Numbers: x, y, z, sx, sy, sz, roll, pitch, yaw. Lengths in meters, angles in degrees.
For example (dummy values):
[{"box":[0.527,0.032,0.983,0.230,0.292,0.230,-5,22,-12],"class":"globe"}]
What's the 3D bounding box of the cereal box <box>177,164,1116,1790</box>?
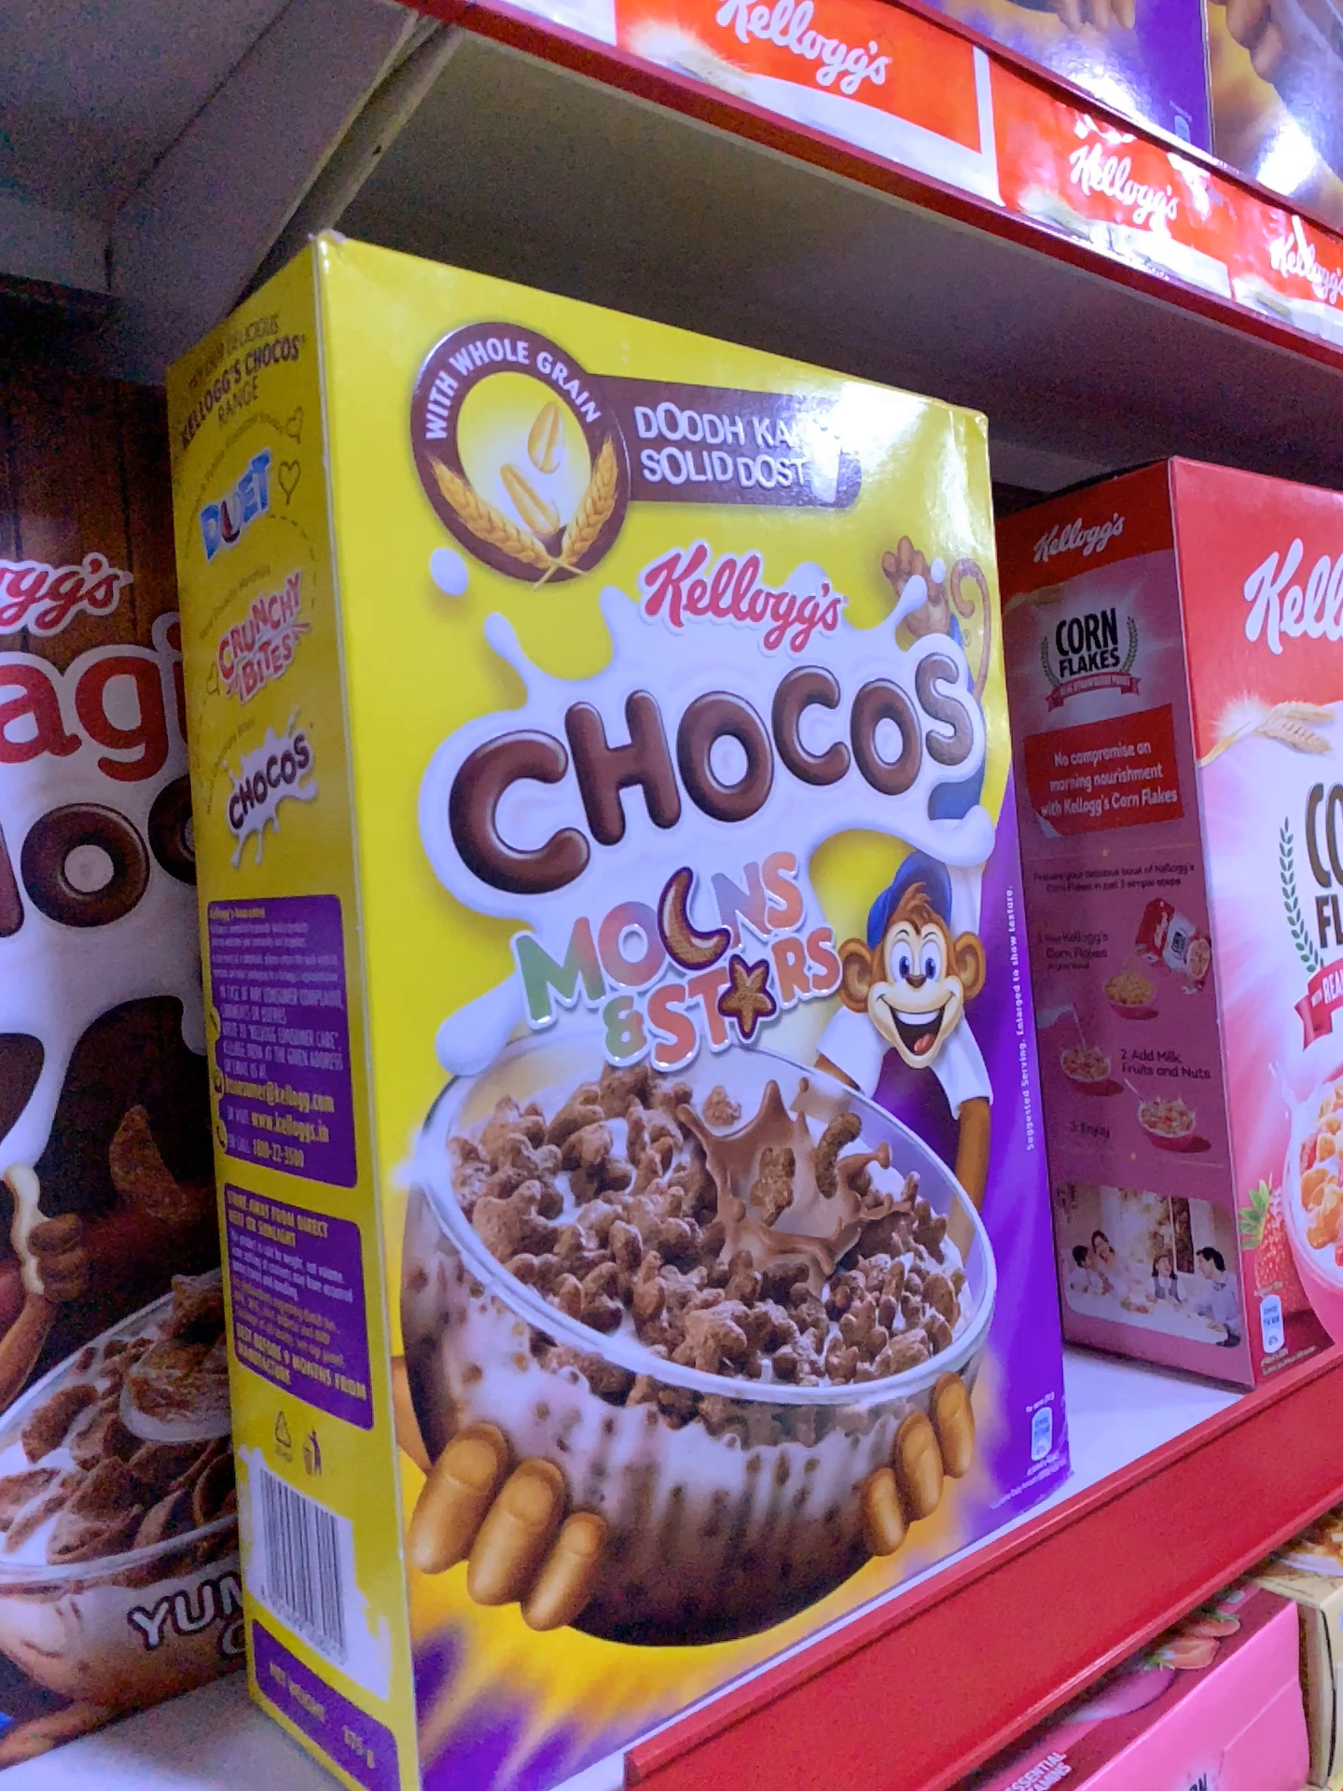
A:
[{"box":[0.008,0.018,0.278,0.180,0.250,0.060,-3,0,-42],"class":"cereal box"}]
